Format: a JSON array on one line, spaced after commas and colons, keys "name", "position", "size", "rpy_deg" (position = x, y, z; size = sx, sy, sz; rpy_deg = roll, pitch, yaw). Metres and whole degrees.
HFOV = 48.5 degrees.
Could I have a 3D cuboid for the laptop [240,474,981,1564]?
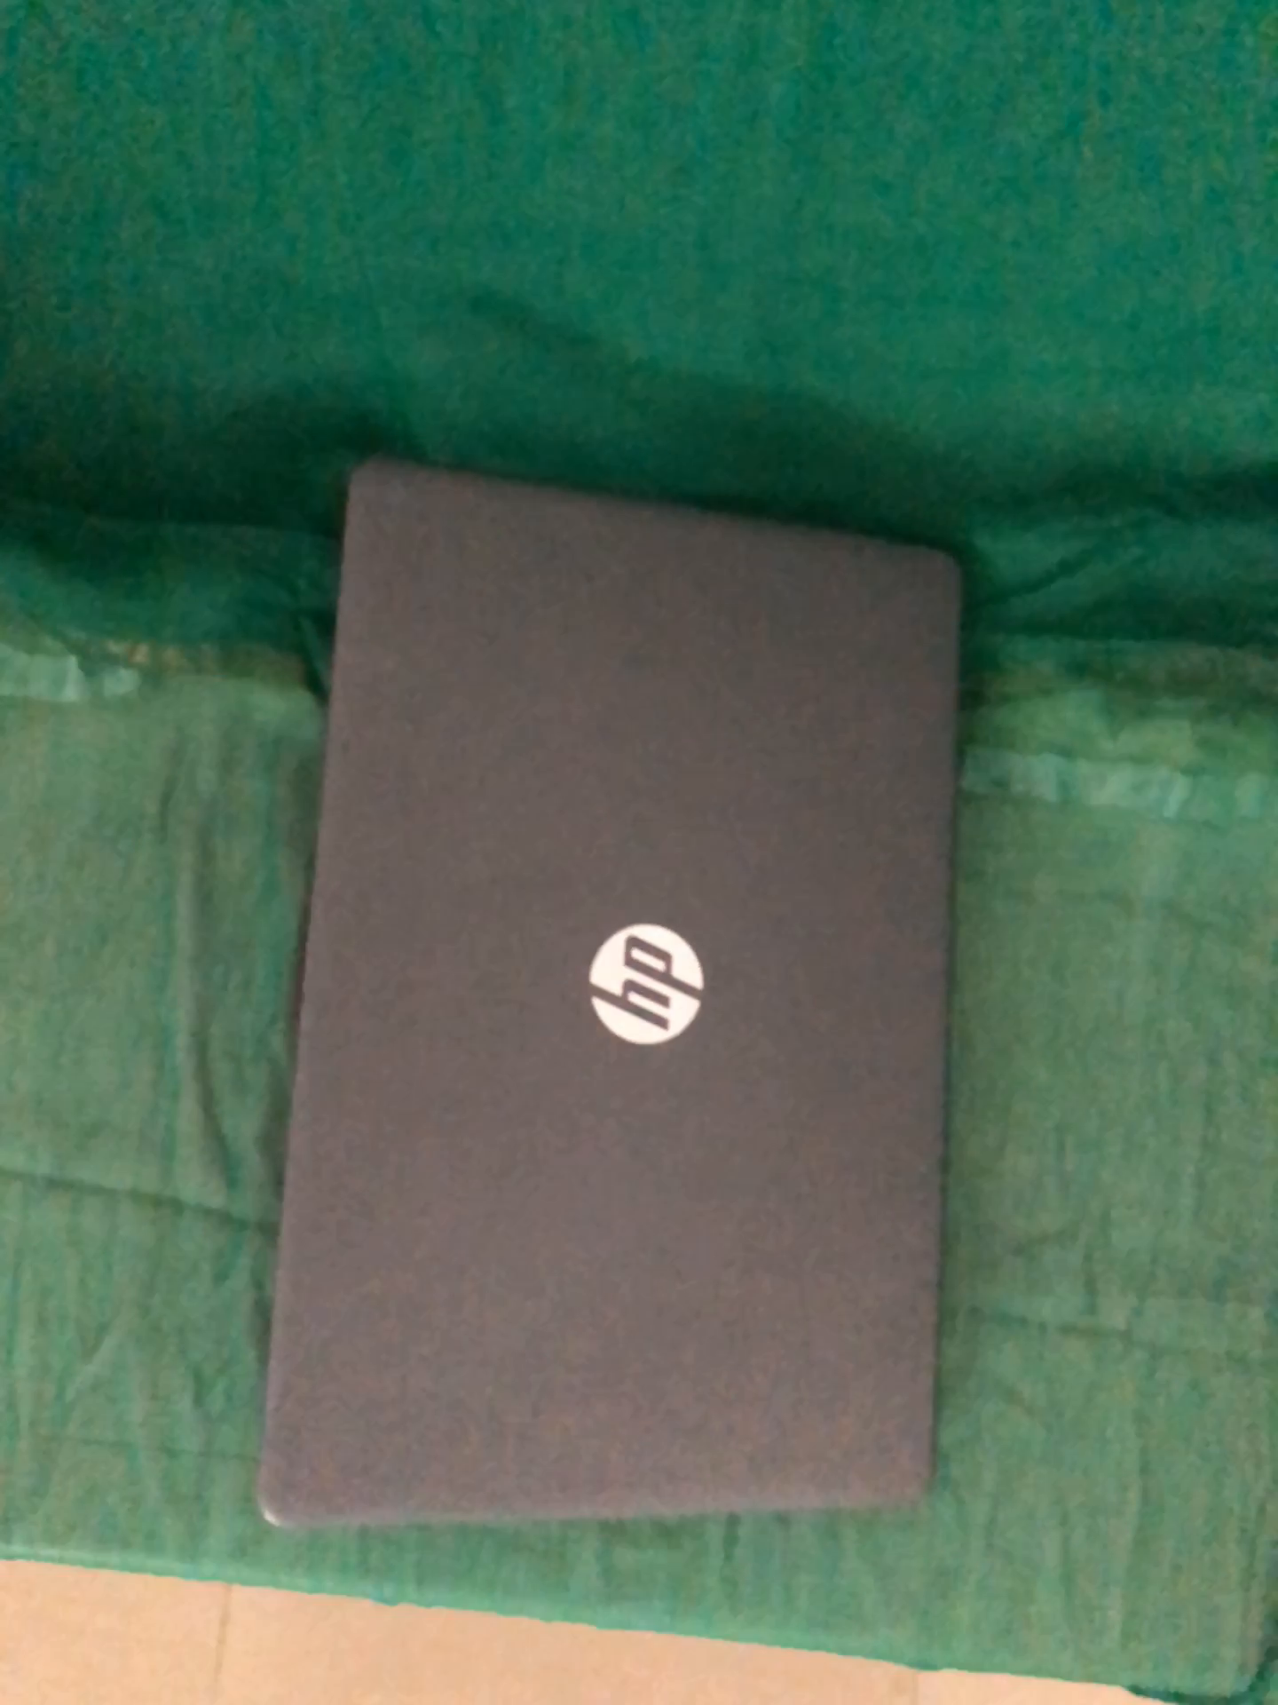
[{"name": "laptop", "position": [-0.004, 0.053, 0.527], "size": [0.231, 0.067, 0.359], "rpy_deg": [4, 81, -1]}]
